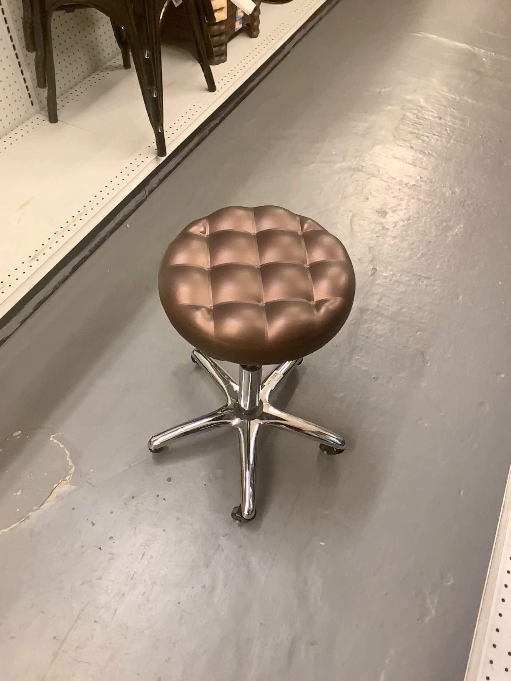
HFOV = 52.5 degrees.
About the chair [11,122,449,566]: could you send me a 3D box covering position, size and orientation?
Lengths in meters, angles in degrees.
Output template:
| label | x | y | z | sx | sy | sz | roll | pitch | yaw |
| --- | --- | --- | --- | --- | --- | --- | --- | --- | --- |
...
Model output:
| label | x | y | z | sx | sy | sz | roll | pitch | yaw |
| --- | --- | --- | --- | --- | --- | --- | --- | --- | --- |
| chair | -0.019 | 0.020 | 1.047 | 0.501 | 0.575 | 0.513 | 24 | 57 | 14 |
